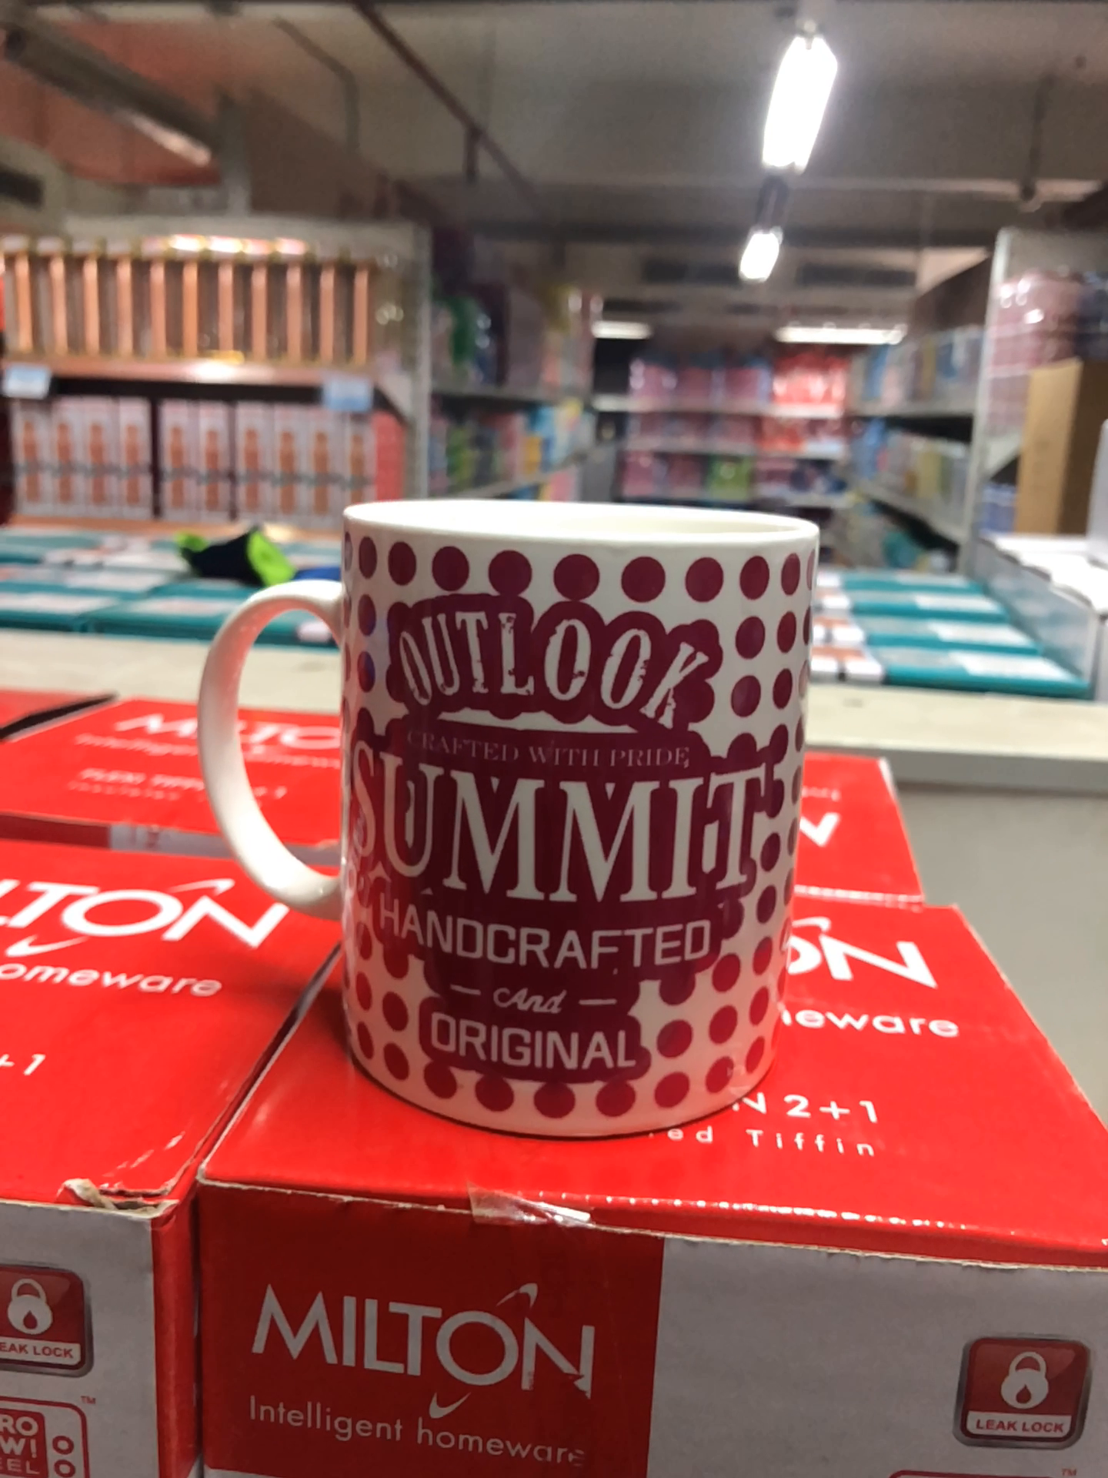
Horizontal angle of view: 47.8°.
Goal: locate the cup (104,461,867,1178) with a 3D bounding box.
[{"bbox_3d":[-0.008,0.005,0.227,0.110,0.100,0.080,5,15,8],"label":"cup"}]
